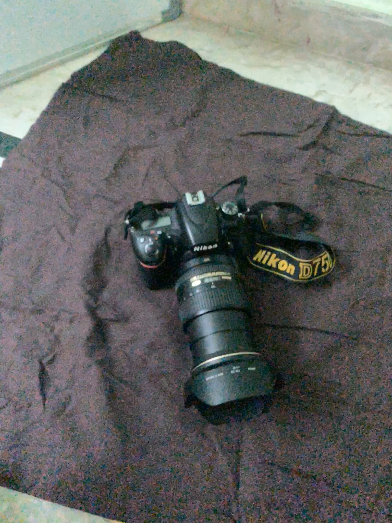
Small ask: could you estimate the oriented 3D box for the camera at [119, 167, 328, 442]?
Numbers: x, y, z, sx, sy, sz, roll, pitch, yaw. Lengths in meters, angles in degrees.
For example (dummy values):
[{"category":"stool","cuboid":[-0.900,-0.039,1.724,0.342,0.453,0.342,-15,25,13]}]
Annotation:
[{"category":"camera","cuboid":[0.013,0.039,0.473,0.161,0.100,0.279,-9,61,-7]}]
